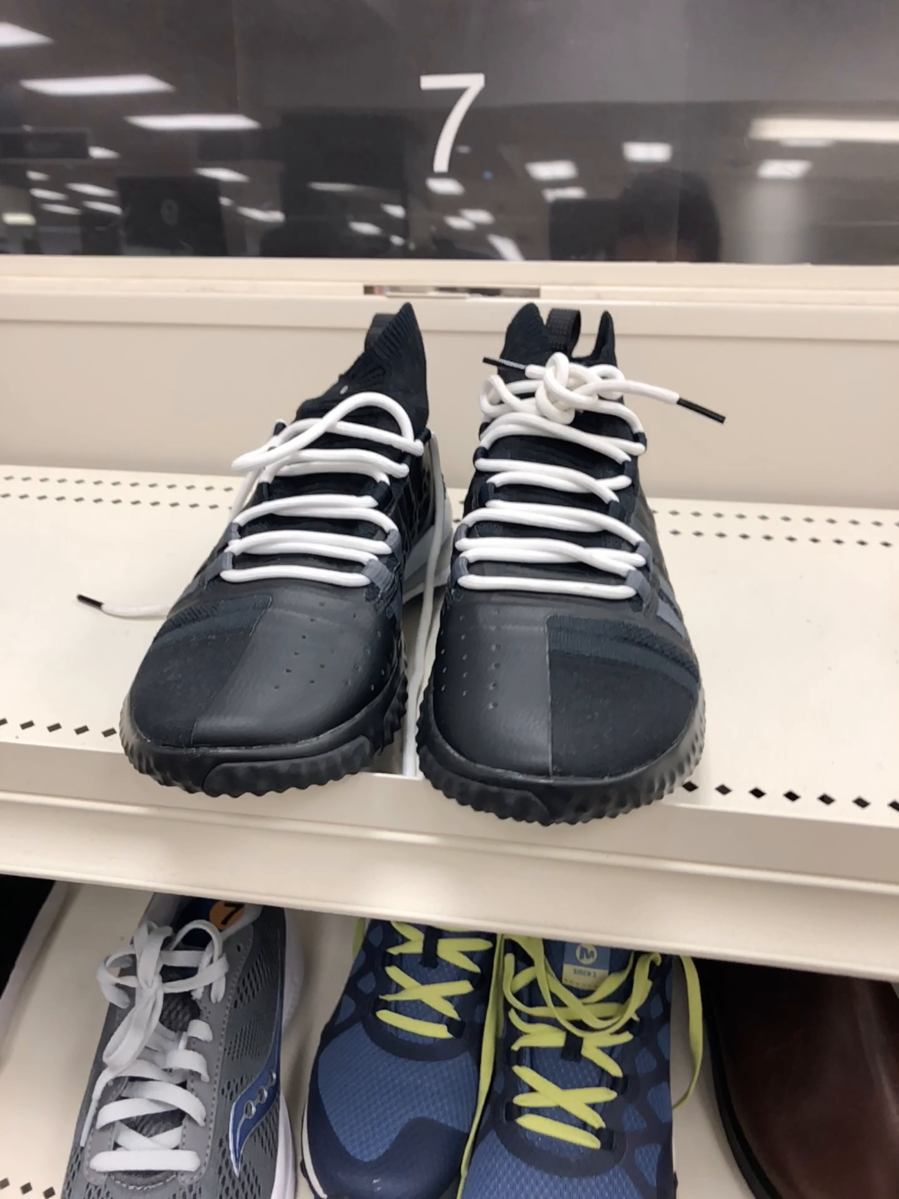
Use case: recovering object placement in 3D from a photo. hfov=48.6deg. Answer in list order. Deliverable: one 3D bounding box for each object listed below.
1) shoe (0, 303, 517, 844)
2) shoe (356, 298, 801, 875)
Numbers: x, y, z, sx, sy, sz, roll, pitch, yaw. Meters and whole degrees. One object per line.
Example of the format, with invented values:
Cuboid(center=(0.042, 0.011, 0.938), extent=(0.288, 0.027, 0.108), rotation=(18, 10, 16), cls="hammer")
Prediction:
Cuboid(center=(-0.049, -0.052, 0.482), extent=(0.120, 0.136, 0.352), rotation=(4, 23, 10), cls="shoe")
Cuboid(center=(0.055, -0.047, 0.457), extent=(0.120, 0.136, 0.353), rotation=(3, 23, 6), cls="shoe")
